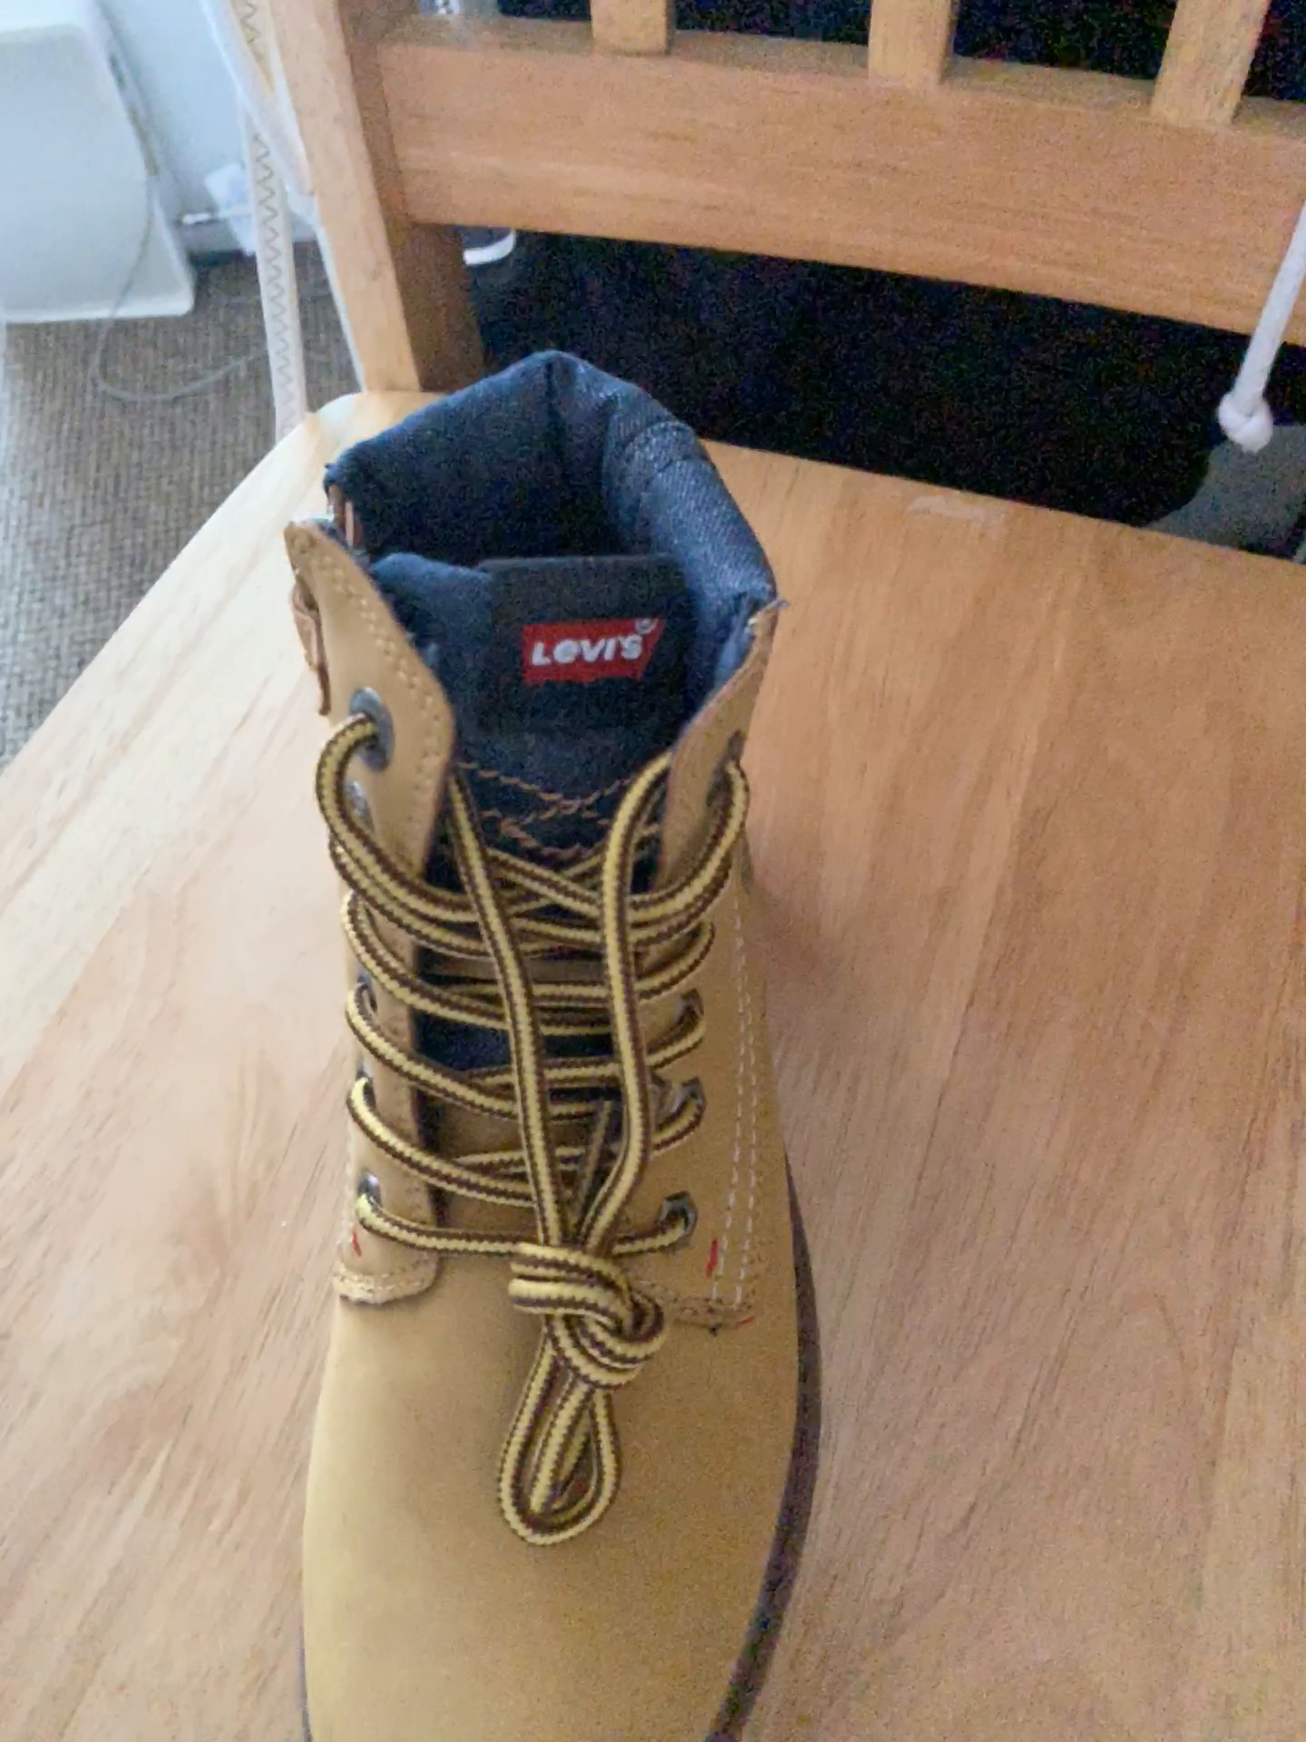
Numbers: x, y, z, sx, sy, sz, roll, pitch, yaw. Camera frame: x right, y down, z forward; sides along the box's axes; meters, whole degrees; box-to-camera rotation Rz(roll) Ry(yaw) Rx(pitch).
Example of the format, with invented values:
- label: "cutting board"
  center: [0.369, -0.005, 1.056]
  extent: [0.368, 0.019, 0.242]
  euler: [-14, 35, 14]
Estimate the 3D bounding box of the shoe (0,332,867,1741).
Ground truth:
- label: "shoe"
  center: [-0.021, 0.048, 0.221]
  extent: [0.100, 0.139, 0.231]
  euler: [2, 61, 7]
